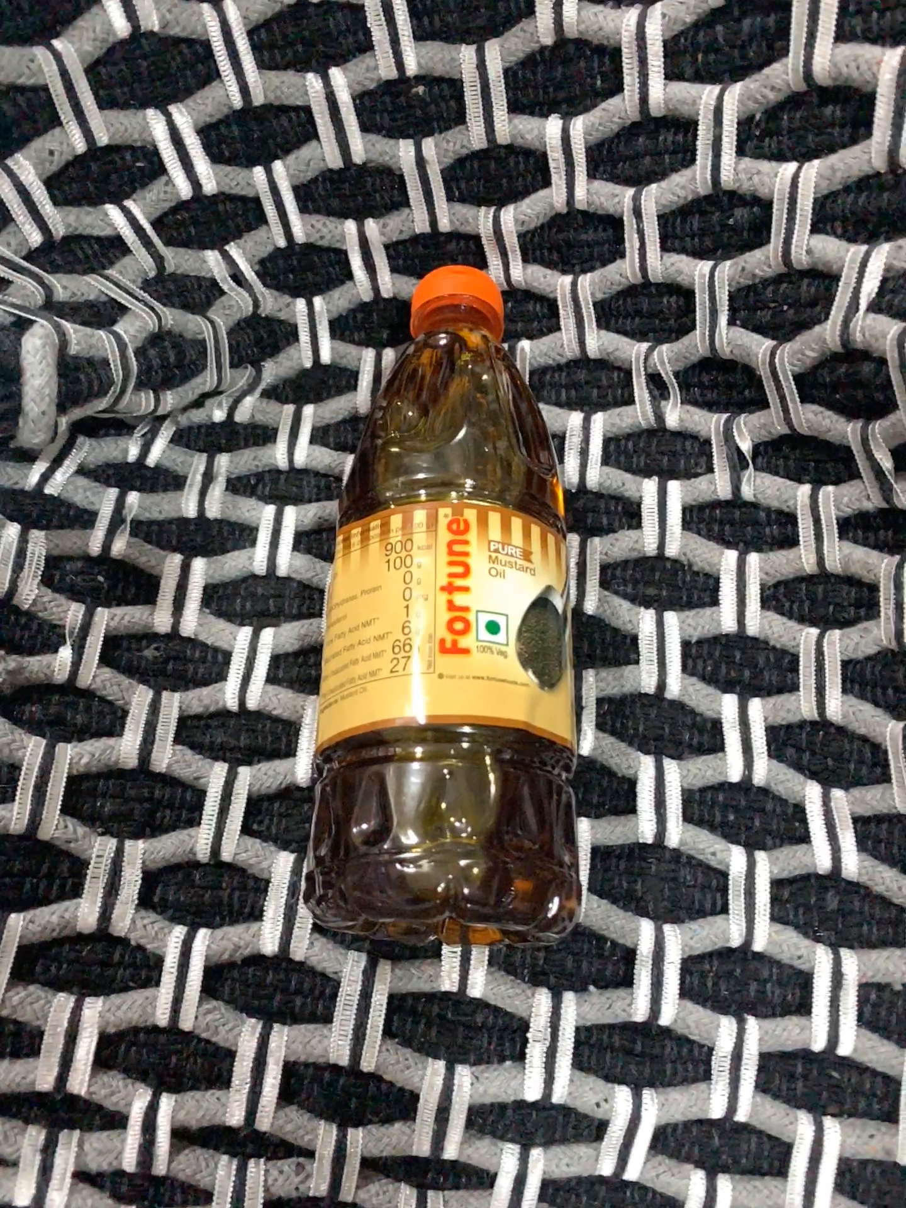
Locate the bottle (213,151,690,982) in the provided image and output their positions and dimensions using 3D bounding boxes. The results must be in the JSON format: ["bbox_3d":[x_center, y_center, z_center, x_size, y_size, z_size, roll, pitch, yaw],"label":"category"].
[{"bbox_3d":[0.000,-0.014,0.277,0.080,0.080,0.220,-26,51,37],"label":"bottle"}]
